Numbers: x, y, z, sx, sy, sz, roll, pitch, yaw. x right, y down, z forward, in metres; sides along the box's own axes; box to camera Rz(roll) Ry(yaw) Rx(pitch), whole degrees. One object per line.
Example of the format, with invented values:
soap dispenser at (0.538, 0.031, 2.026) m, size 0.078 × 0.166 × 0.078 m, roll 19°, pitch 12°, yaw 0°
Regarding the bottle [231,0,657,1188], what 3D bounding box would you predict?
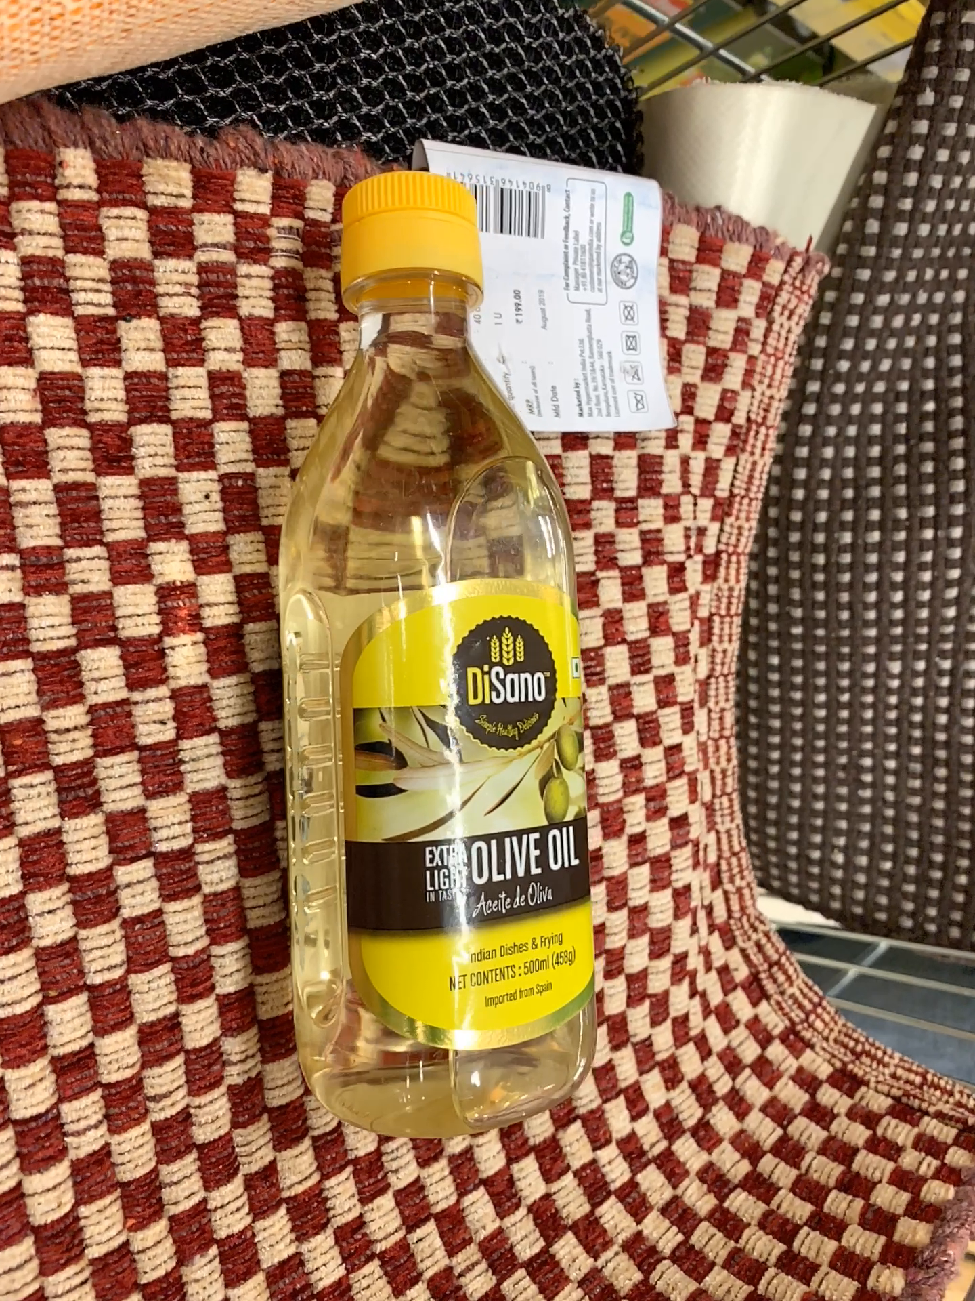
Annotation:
bottle at (-0.011, -0.012, 0.240) m, size 0.070 × 0.060 × 0.230 m, roll -2°, pitch 90°, yaw -36°
